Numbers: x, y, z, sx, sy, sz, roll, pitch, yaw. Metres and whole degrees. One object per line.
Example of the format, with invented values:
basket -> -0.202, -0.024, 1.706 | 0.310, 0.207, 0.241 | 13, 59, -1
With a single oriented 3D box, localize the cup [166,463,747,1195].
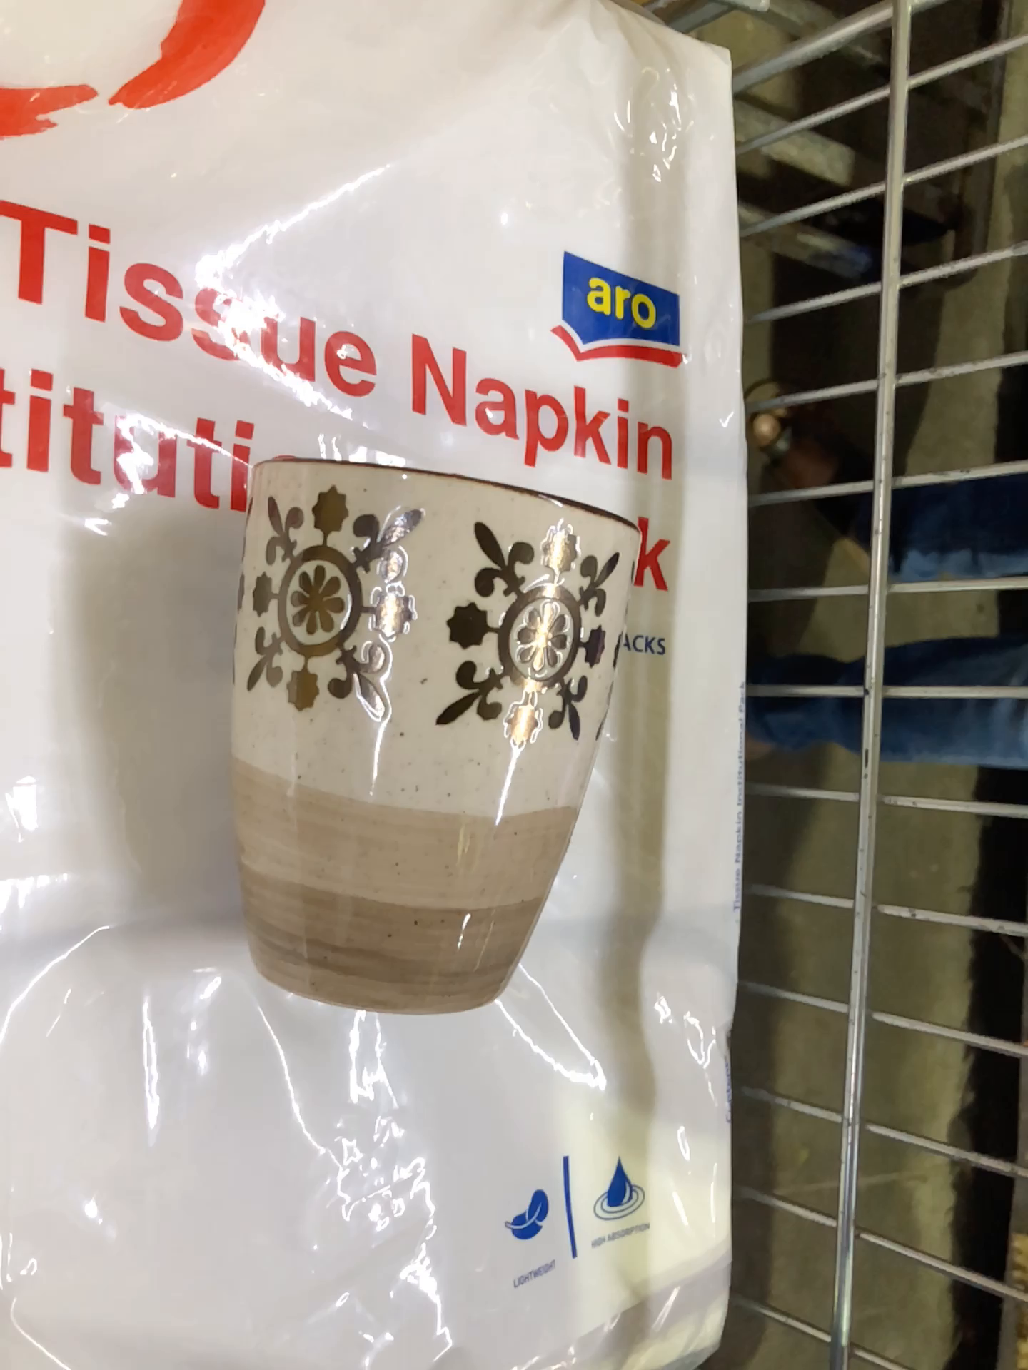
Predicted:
cup -> -0.003, 0.023, 0.235 | 0.100, 0.070, 0.110 | 7, 90, -68
